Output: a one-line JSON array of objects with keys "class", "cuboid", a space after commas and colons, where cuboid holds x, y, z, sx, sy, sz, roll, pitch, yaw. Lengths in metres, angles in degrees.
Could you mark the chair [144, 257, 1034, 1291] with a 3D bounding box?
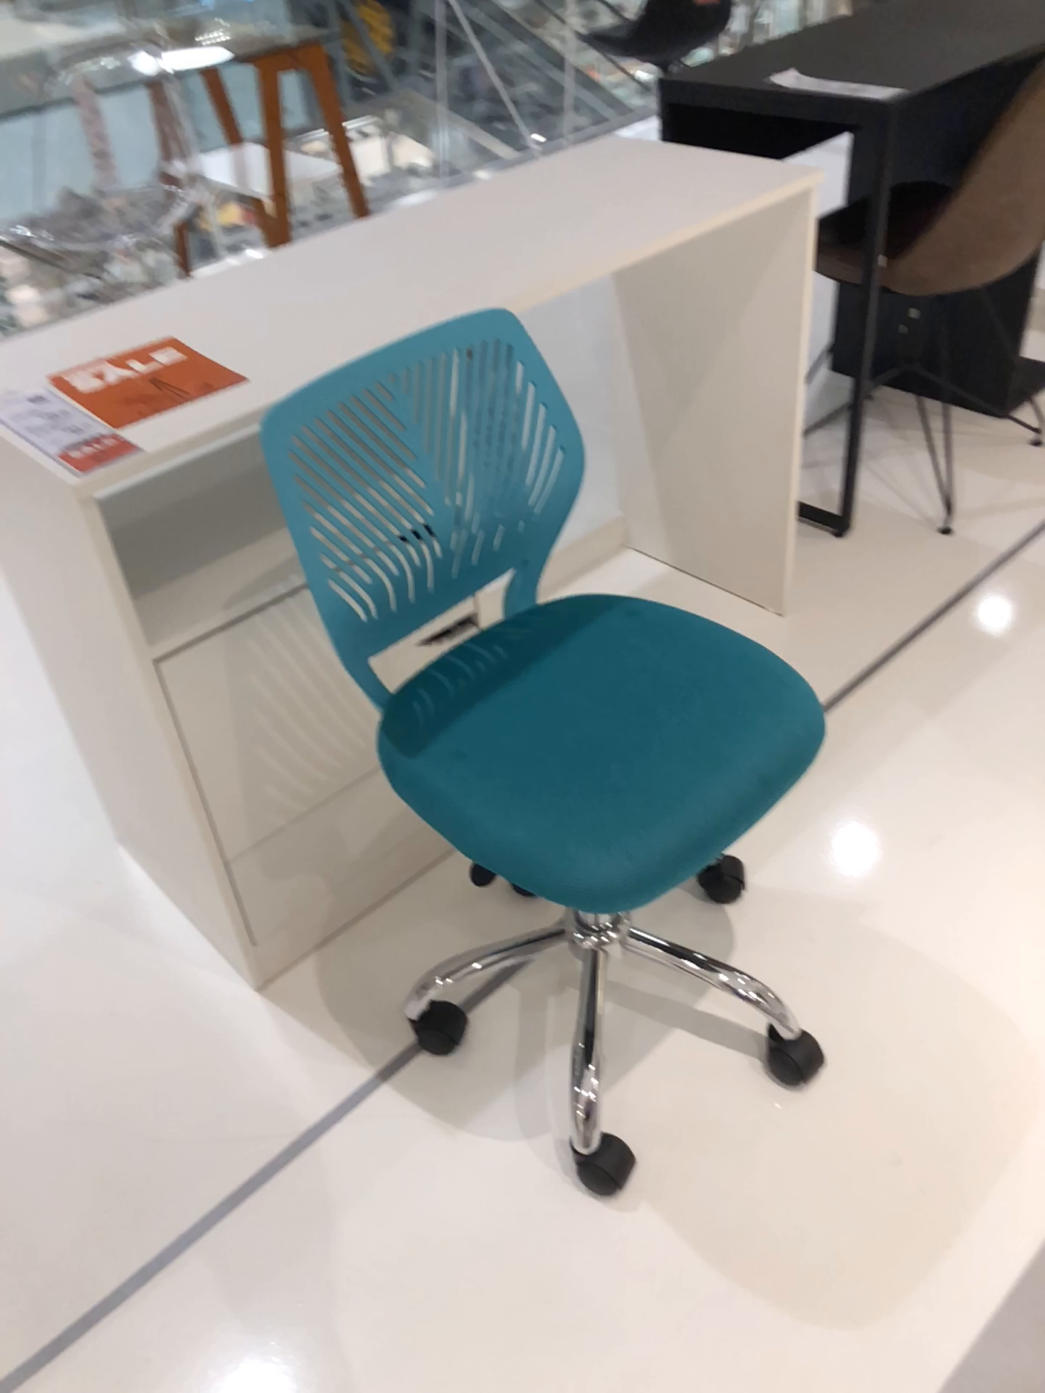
[{"class": "chair", "cuboid": [0.081, 0.045, 1.124, 0.502, 0.724, 0.502, 27, 48, 37]}]
